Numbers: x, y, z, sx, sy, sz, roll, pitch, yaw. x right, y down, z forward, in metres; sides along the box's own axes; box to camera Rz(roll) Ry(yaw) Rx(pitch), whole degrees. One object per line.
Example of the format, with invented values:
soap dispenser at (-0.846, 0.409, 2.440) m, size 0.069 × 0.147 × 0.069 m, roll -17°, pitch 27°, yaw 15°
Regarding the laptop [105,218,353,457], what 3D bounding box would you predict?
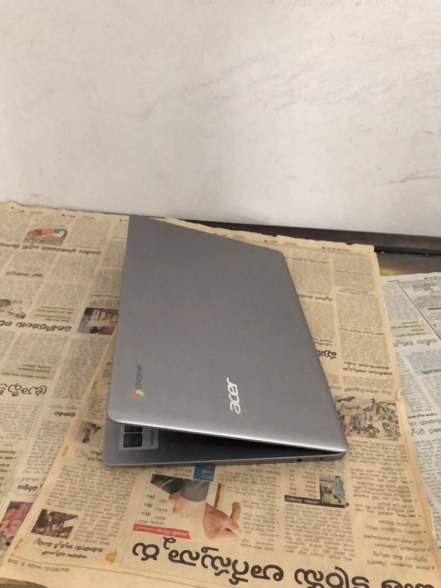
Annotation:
laptop at (-0.007, 0.022, 0.559) m, size 0.210 × 0.058 × 0.332 m, roll 0°, pitch 38°, yaw -6°
